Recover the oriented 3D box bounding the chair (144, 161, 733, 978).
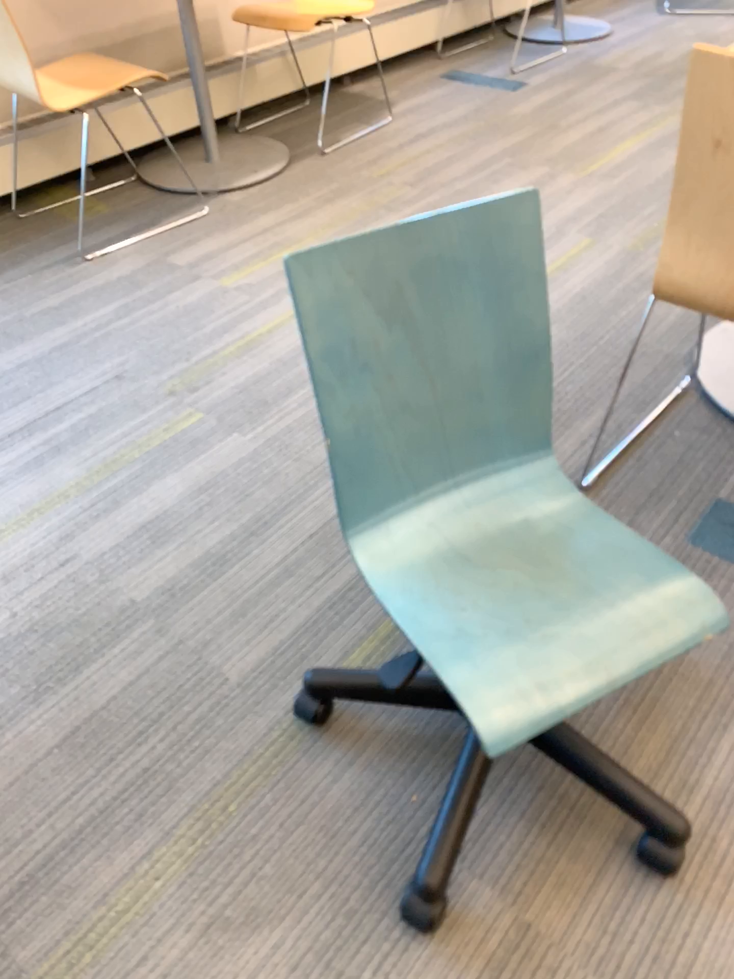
[{"bbox_3d":[0.191,0.095,0.903,0.600,0.667,0.613,-23,46,-20],"label":"chair"}]
